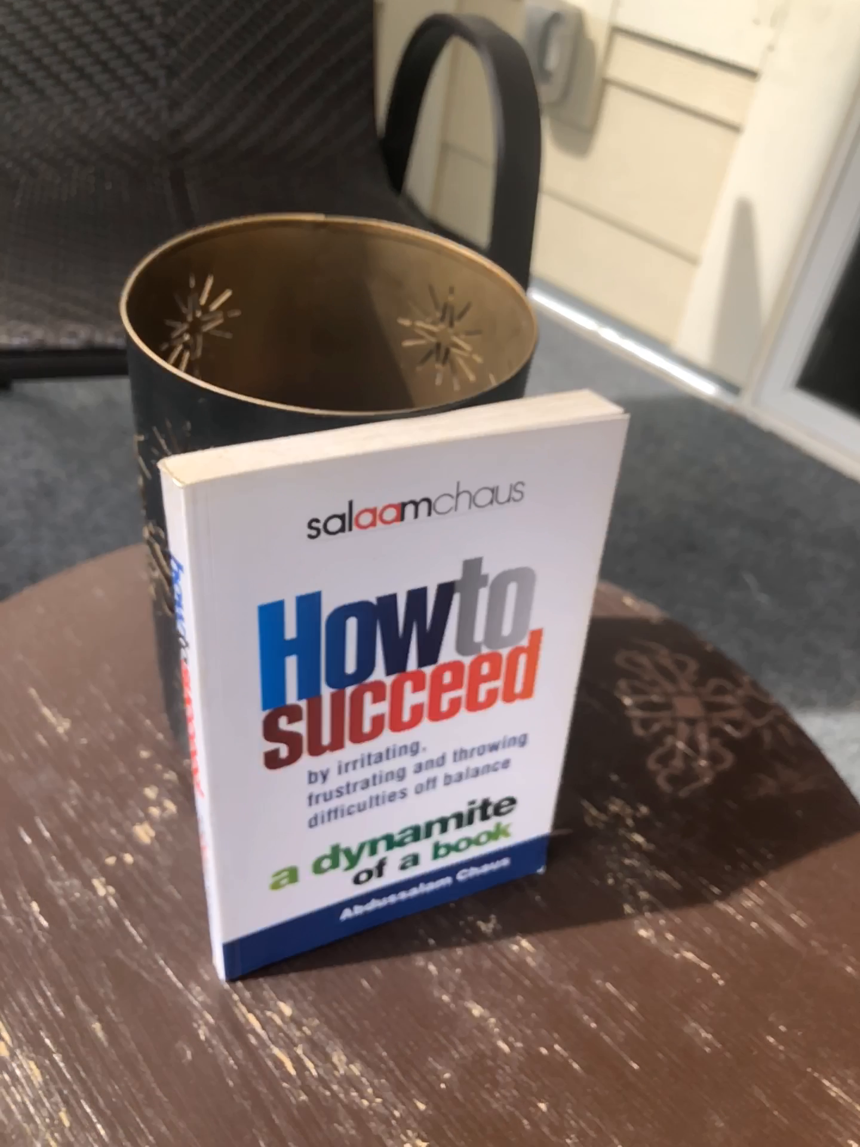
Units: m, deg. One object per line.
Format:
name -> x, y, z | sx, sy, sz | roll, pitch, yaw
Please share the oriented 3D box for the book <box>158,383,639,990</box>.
book -> -0.011, 0.045, 0.325 | 0.139, 0.207, 0.018 | -12, 37, -24
